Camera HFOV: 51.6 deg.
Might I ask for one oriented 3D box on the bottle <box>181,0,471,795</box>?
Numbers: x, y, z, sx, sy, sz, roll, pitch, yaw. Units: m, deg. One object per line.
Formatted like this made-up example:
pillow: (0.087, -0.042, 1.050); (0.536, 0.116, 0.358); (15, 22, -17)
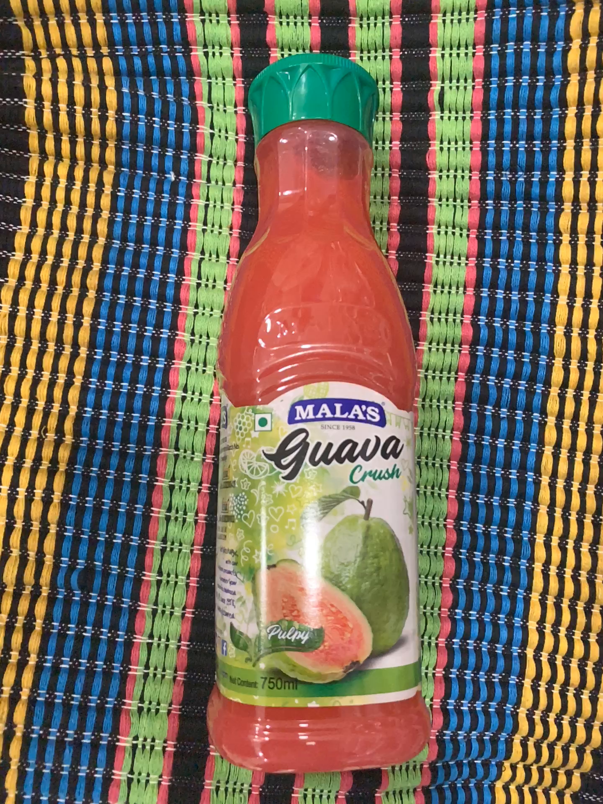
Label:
bottle: (-0.001, -0.015, 0.236); (0.080, 0.080, 0.260); (0, 78, -8)
